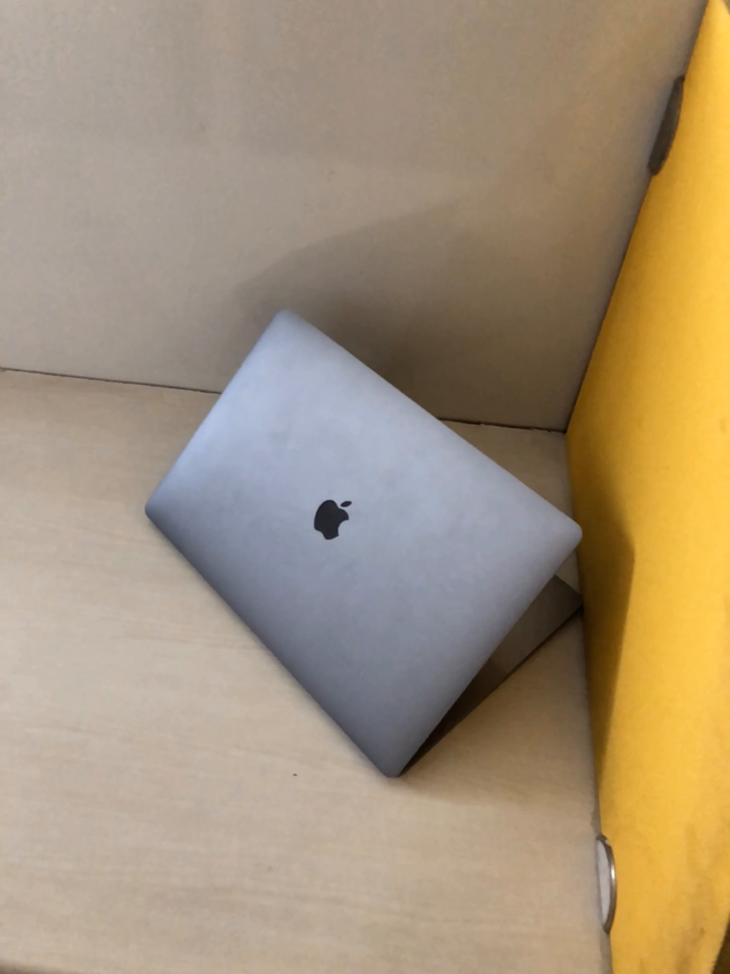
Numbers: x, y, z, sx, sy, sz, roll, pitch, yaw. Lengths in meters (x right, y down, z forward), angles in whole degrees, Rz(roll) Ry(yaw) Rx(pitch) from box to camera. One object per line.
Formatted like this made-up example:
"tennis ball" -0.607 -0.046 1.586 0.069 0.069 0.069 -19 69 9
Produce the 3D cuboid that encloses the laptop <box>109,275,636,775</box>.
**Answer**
"laptop" -0.006 0.010 0.677 0.236 0.152 0.345 -34 60 -27
